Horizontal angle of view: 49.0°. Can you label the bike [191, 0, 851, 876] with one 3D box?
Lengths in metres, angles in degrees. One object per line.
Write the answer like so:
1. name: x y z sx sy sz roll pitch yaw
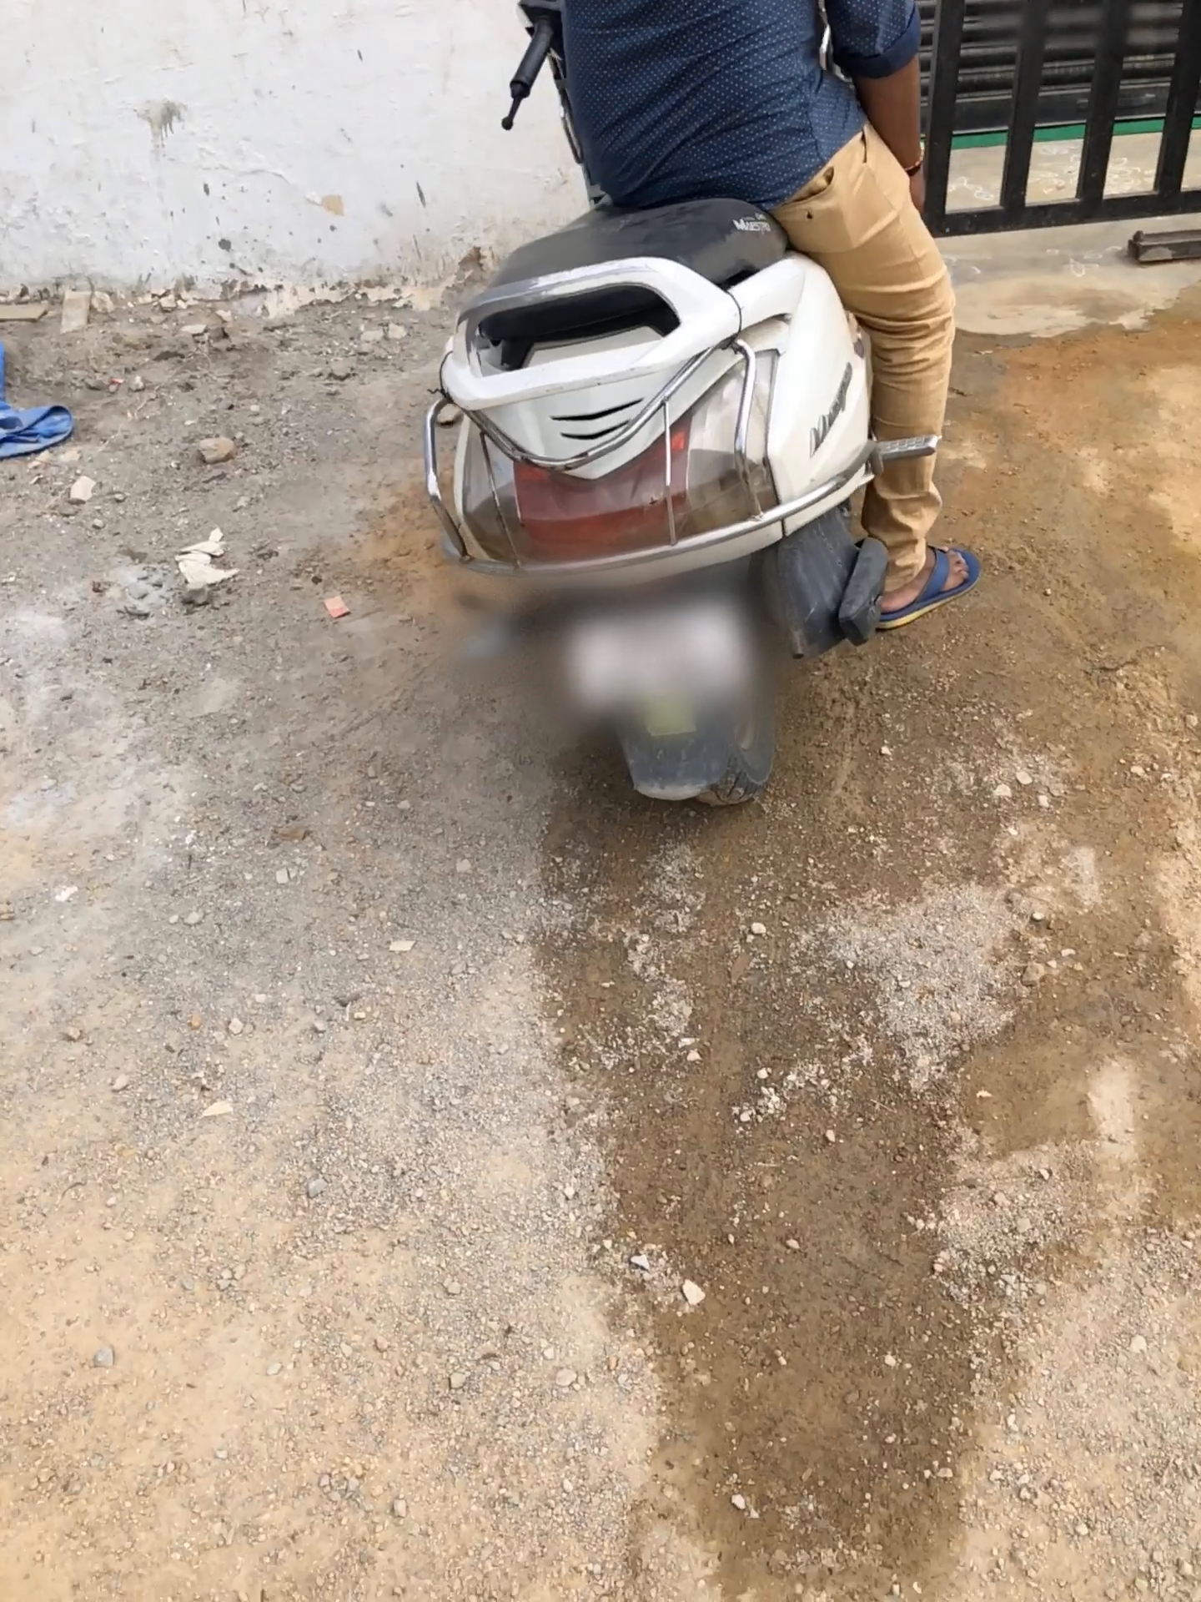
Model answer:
1. bike: -0.019 -0.959 2.097 0.599 1.231 1.565 -1 41 4
